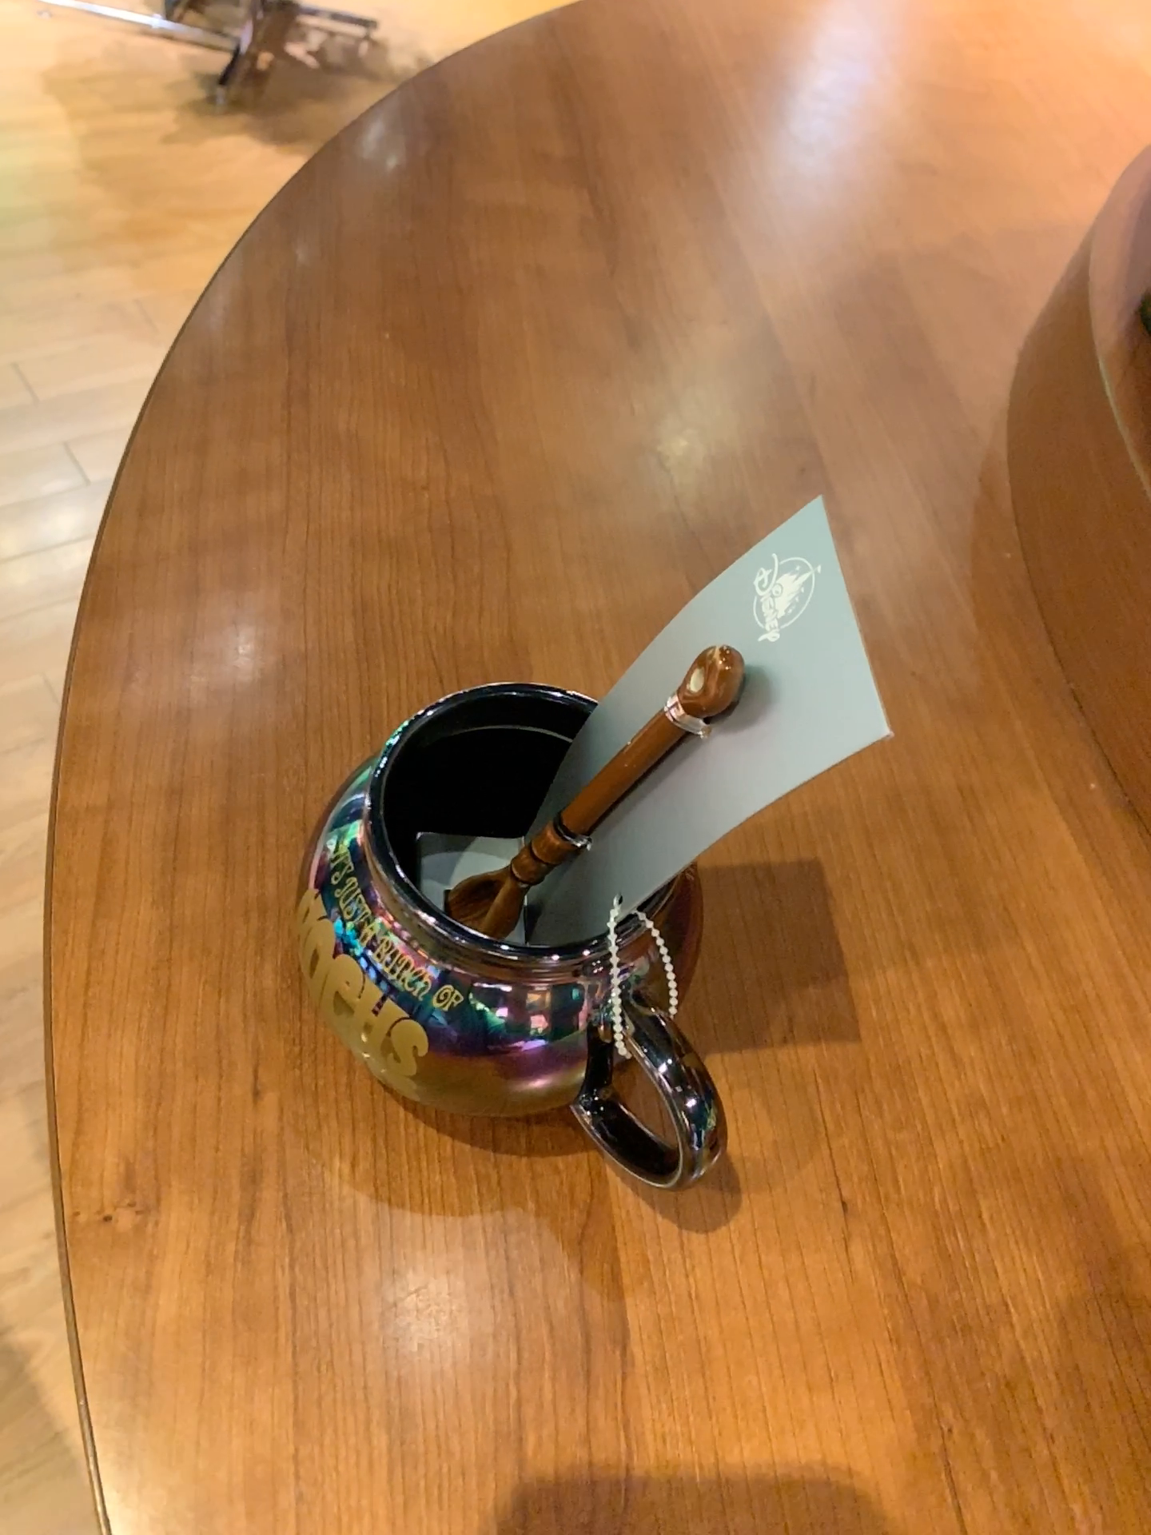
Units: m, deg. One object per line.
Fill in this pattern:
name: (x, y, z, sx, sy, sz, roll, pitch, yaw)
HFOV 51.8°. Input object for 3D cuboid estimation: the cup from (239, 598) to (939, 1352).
cup: (-0.006, 0.048, 0.305, 0.100, 0.089, 0.136, -27, 63, -29)
